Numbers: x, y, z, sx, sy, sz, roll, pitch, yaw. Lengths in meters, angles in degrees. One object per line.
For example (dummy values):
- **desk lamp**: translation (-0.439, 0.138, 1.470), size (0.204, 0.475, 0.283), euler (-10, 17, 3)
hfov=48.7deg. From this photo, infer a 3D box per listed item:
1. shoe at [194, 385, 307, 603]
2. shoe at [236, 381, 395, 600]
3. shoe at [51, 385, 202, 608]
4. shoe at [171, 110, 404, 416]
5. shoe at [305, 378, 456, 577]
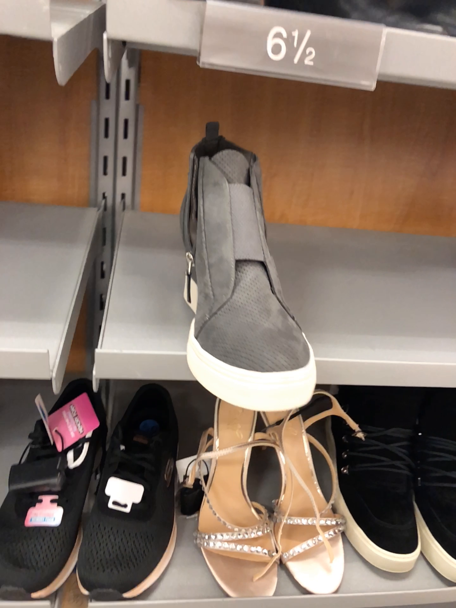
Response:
- **shoe**: translation (0.012, 0.197, 0.580), size (0.083, 0.085, 0.251), euler (3, 21, -8)
- **shoe**: translation (0.085, 0.196, 0.592), size (0.083, 0.089, 0.249), euler (1, 24, -15)
- **shoe**: translation (-0.098, 0.196, 0.580), size (0.109, 0.065, 0.279), euler (6, 20, 0)
- **shoe**: translation (0.016, -0.053, 0.420), size (0.103, 0.173, 0.274), euler (3, 16, -10)
- **shoe**: translation (0.183, 0.203, 0.653), size (0.103, 0.068, 0.279), euler (4, 23, -5)
